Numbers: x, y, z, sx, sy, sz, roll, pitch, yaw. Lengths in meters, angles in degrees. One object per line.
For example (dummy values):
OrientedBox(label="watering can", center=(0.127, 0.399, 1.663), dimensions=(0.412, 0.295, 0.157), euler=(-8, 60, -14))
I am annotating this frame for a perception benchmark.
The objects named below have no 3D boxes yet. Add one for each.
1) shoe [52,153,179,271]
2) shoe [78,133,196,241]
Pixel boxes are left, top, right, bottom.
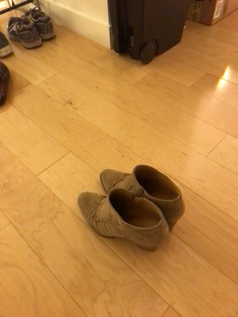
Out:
OrientedBox(label="shoe", center=(-0.011, 0.112, 0.578), dimensions=(0.250, 0.109, 0.111), euler=(29, 58, 25))
OrientedBox(label="shoe", center=(0.037, 0.061, 0.626), dimensions=(0.250, 0.109, 0.110), euler=(30, 58, 25))
